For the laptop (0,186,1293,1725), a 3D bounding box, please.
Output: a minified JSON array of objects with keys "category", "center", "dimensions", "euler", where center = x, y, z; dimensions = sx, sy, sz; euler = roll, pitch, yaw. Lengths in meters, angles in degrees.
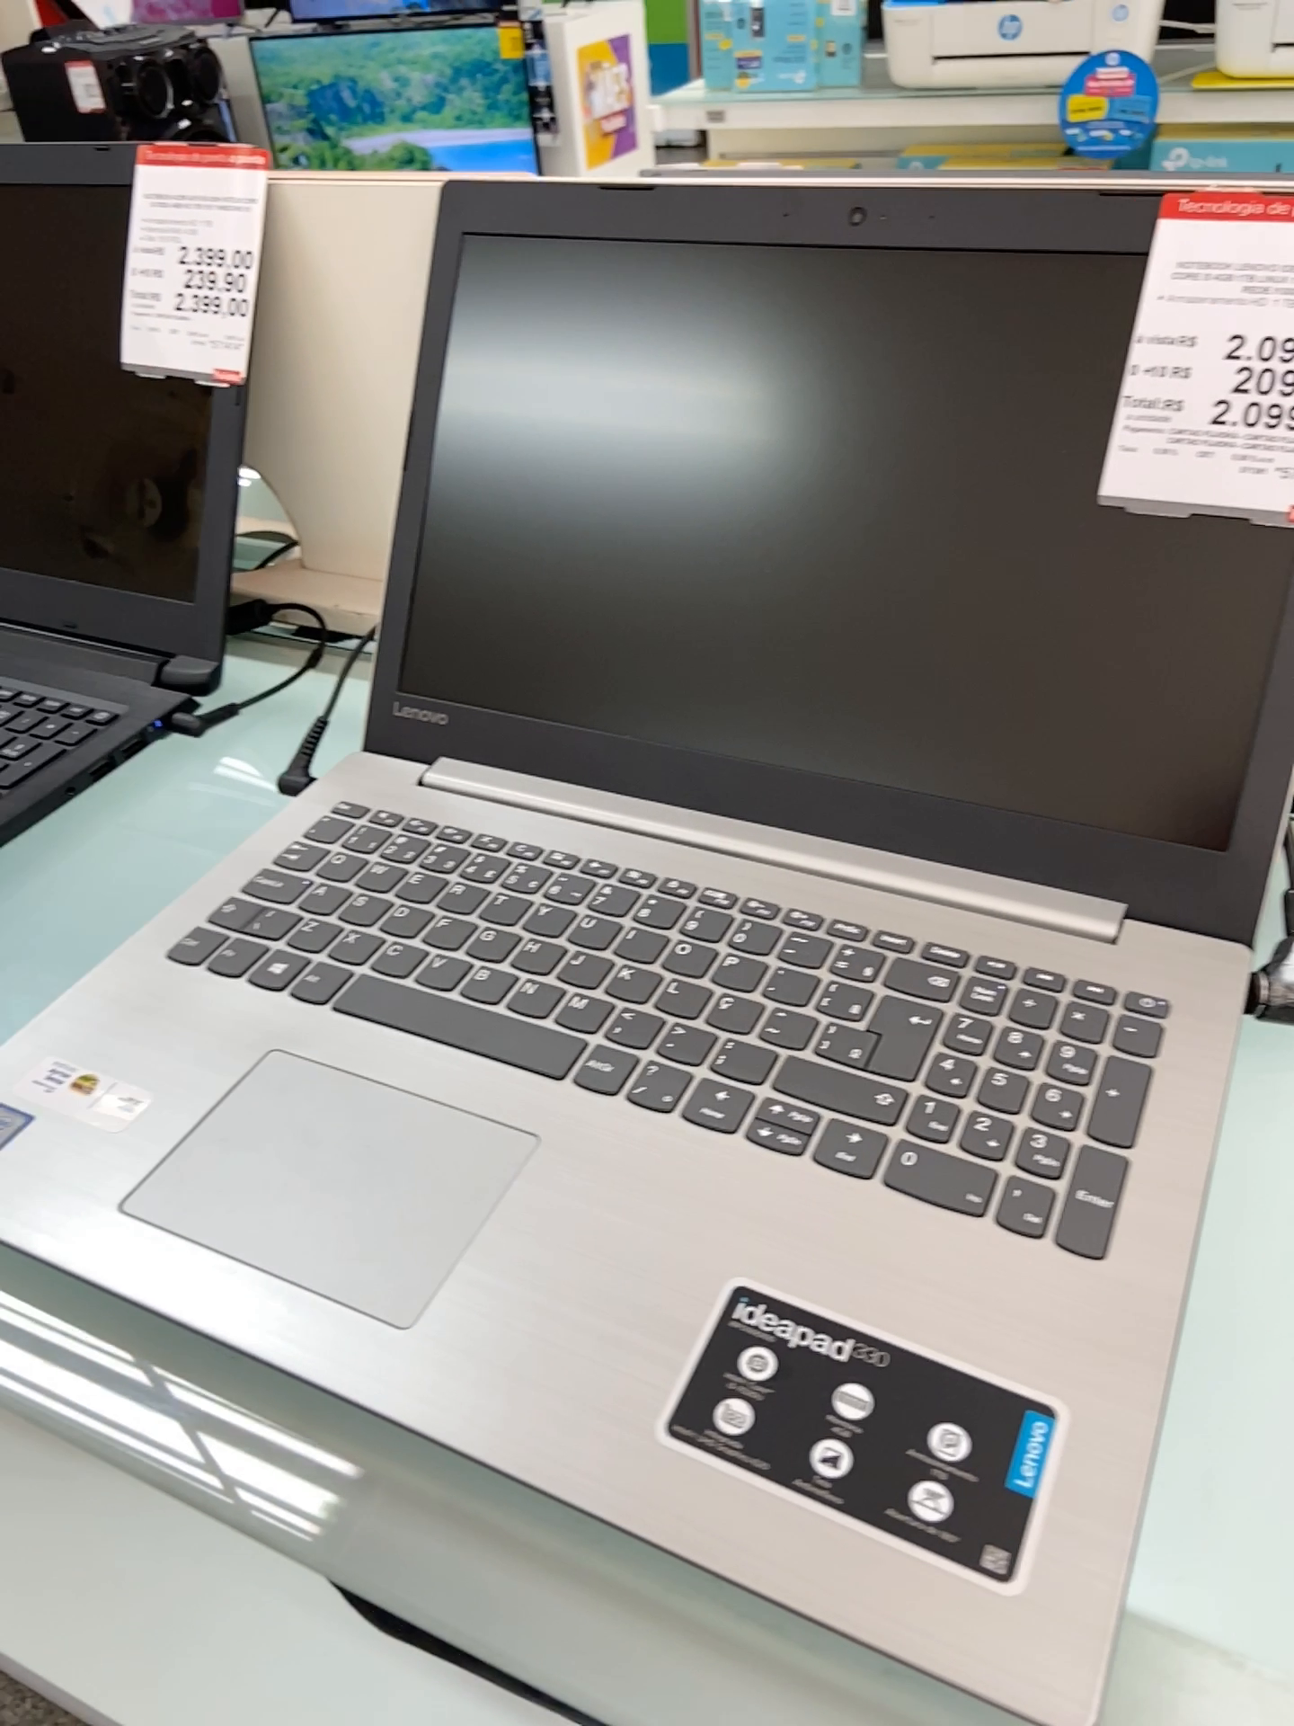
[{"category":"laptop","center":[0.000,-0.057,0.411],"dimensions":[0.371,0.194,0.391],"euler":[13,41,24]}]
